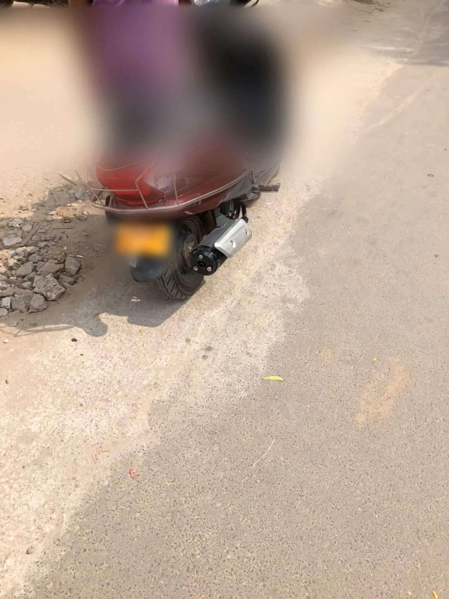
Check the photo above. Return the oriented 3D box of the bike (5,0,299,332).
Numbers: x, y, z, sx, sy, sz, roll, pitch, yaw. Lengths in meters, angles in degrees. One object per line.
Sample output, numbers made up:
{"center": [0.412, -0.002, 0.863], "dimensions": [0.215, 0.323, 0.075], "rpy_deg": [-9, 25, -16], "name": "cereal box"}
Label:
{"center": [-0.140, -0.870, 2.374], "dimensions": [0.674, 1.125, 1.627], "rpy_deg": [9, 41, 11], "name": "bike"}
